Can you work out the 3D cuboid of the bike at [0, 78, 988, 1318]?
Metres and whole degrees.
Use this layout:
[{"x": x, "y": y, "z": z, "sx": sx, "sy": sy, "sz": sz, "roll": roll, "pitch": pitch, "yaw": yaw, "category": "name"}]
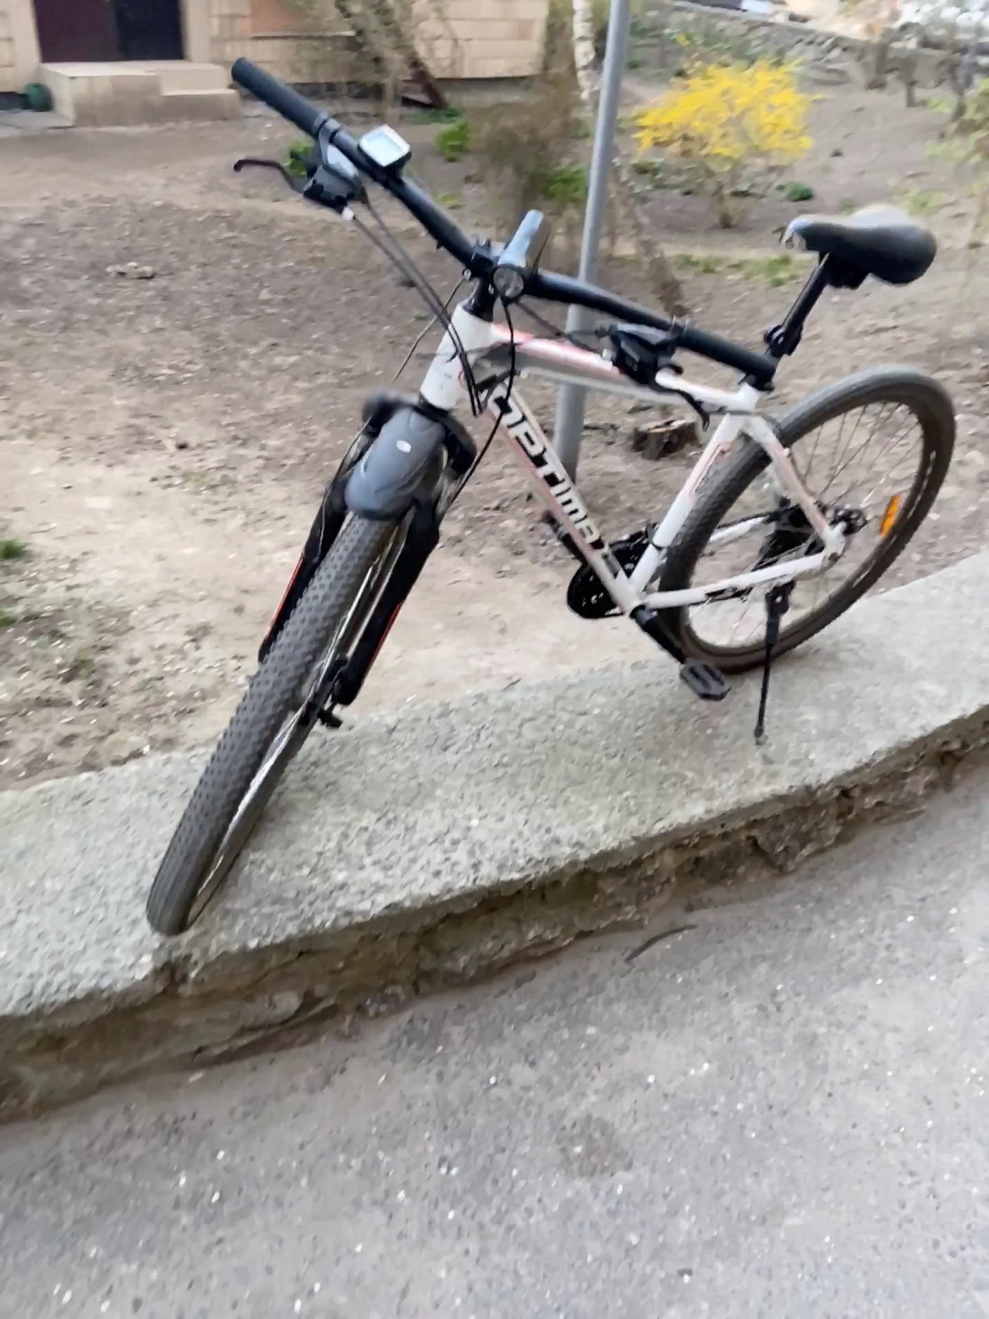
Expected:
[{"x": 0.319, "y": -0.139, "z": 1.564, "sx": 1.757, "sy": 1.143, "sz": 0.680, "roll": -24, "pitch": 45, "yaw": -32, "category": "bike"}]
